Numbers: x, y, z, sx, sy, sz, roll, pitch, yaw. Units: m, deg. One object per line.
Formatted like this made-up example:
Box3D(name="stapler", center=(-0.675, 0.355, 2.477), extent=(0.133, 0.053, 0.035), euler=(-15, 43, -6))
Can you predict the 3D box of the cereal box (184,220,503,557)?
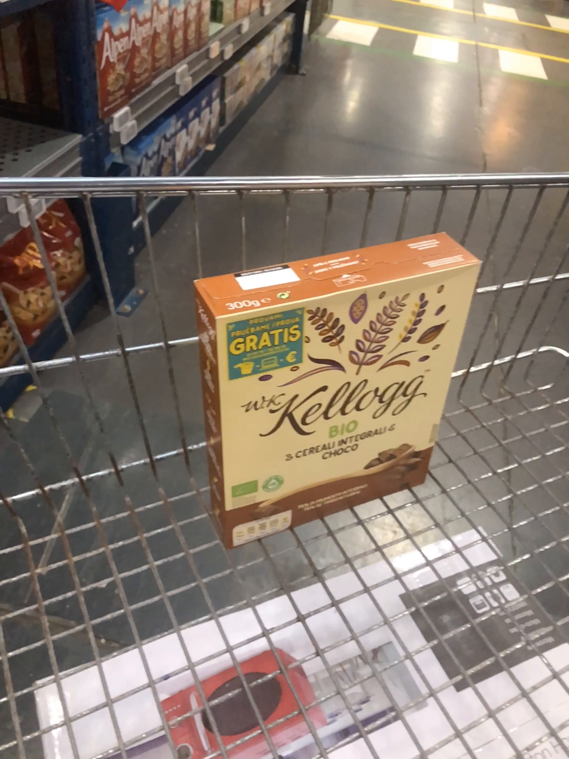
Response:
Box3D(name="cereal box", center=(0.038, 0.011, 0.474), extent=(0.200, 0.219, 0.060), euler=(-15, 43, -20))
